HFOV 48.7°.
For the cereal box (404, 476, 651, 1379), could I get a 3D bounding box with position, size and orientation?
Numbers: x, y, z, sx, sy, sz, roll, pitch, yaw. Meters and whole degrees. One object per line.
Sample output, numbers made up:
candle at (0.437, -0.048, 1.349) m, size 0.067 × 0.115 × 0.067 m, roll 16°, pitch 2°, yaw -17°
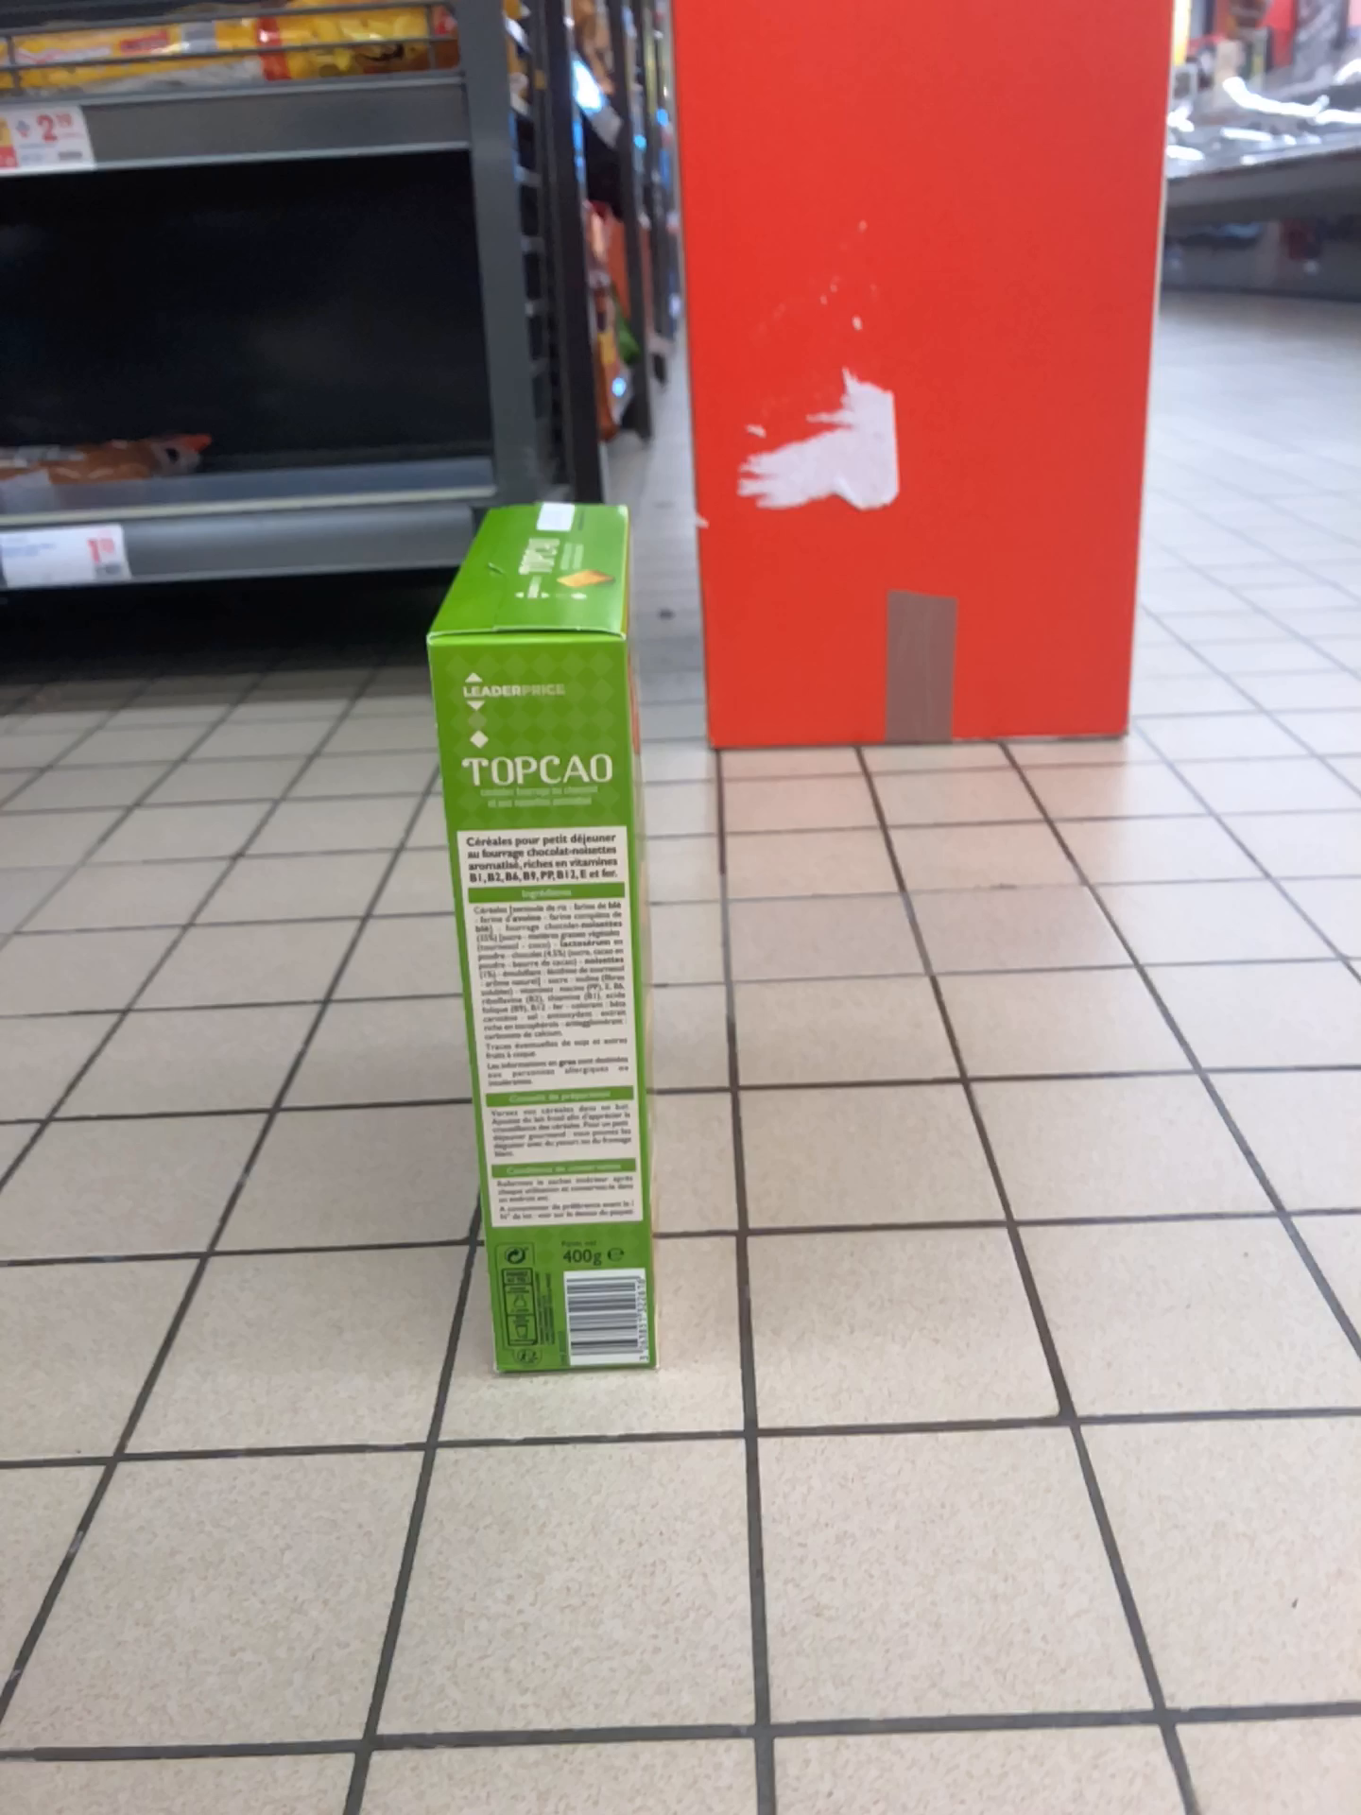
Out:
cereal box at (-0.042, -0.005, 0.522) m, size 0.060 × 0.249 × 0.201 m, roll -1°, pitch 25°, yaw -2°
